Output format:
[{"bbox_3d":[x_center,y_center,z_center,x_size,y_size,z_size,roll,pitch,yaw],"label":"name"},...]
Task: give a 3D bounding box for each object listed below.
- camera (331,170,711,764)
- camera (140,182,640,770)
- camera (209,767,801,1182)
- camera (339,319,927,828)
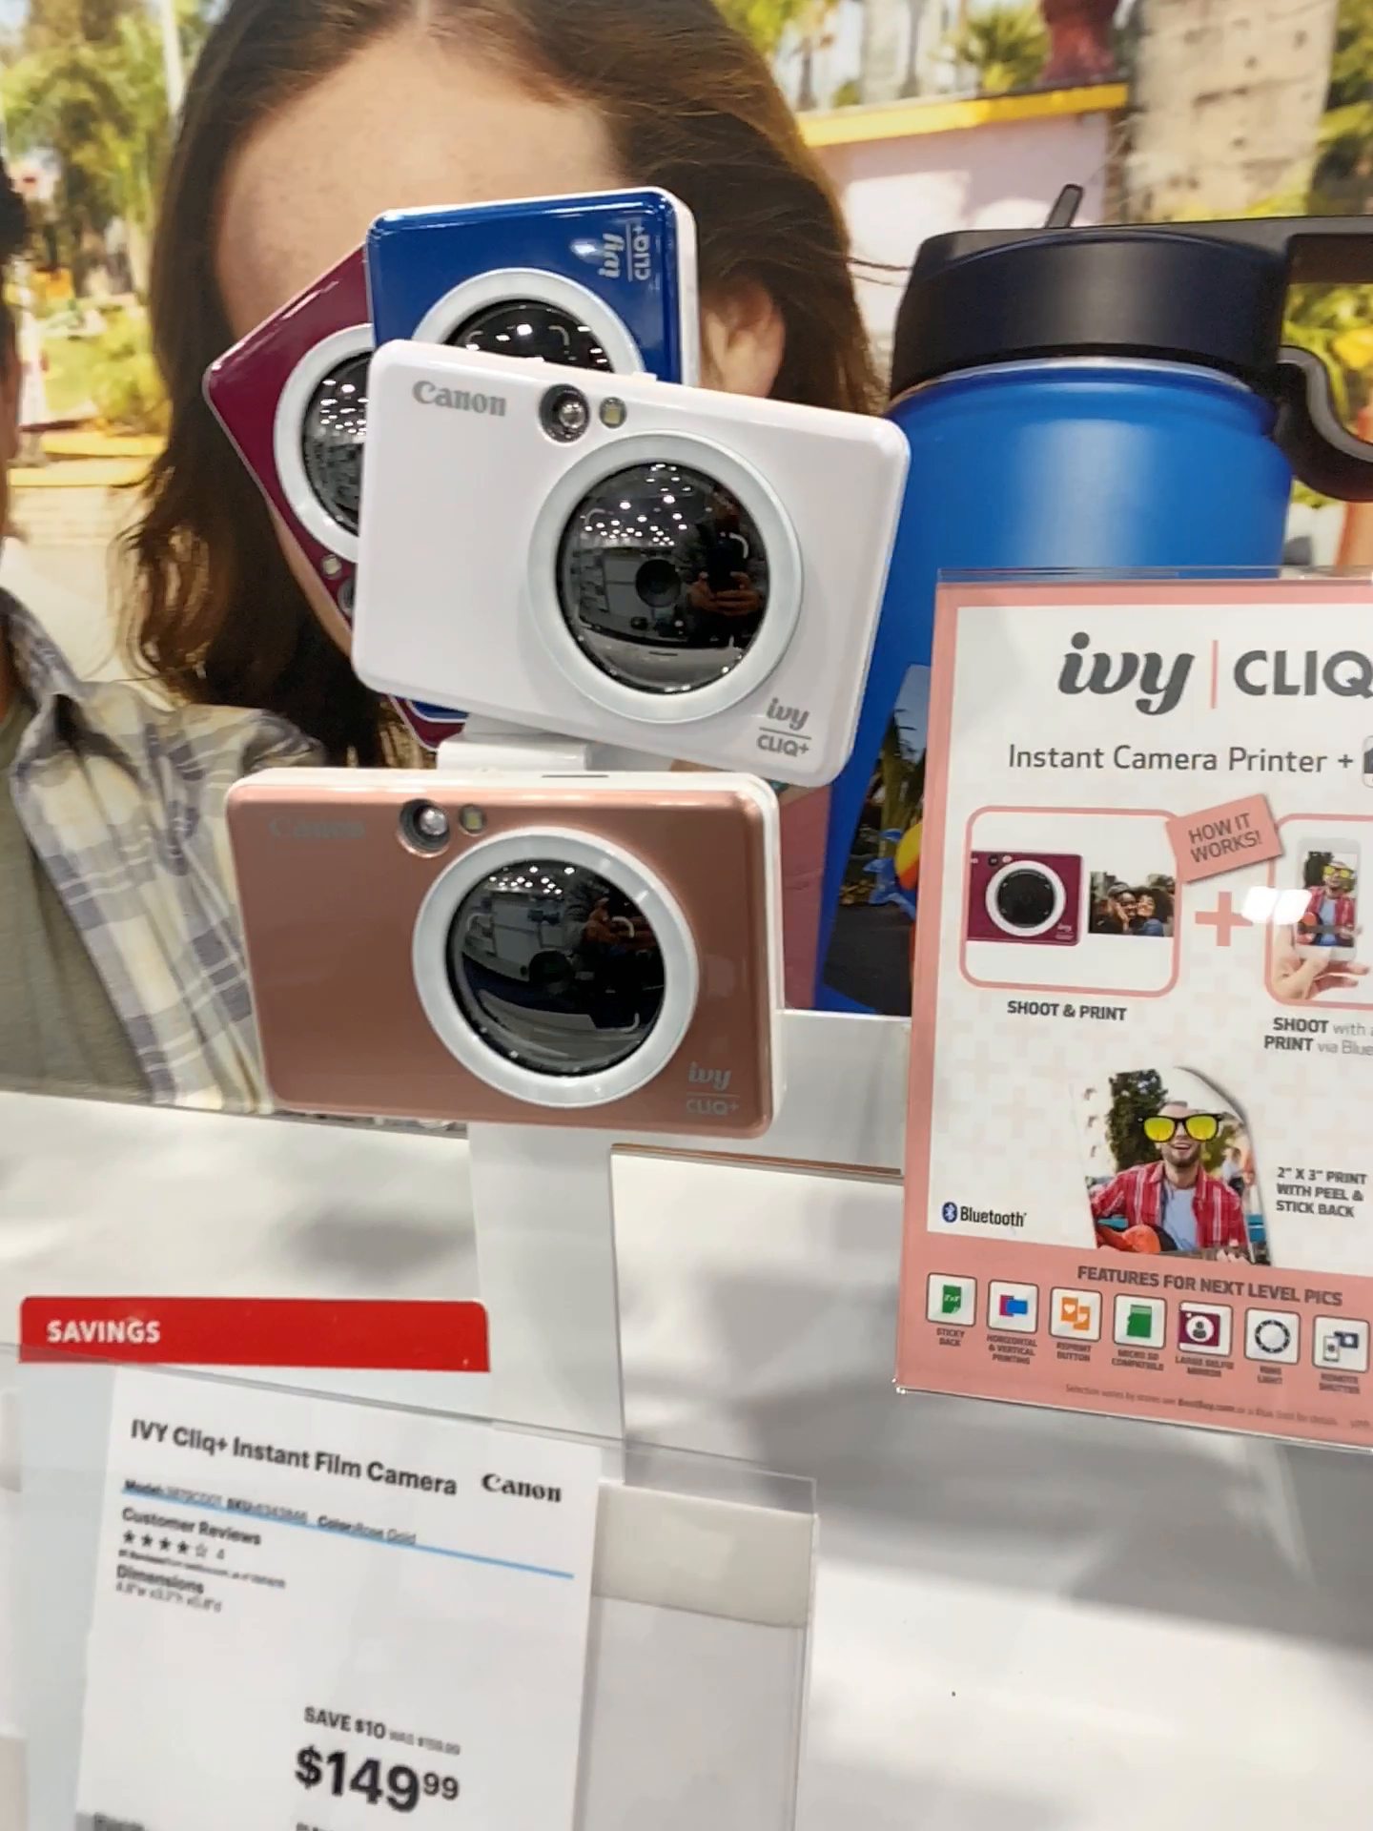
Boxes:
[{"bbox_3d":[-0.039,-0.106,0.351,0.080,0.129,0.030,4,18,21],"label":"camera"},{"bbox_3d":[-0.079,-0.112,0.374,0.080,0.120,0.030,-27,5,27],"label":"camera"},{"bbox_3d":[-0.037,0.011,0.309,0.120,0.080,0.030,2,17,12],"label":"camera"},{"bbox_3d":[-0.014,-0.079,0.326,0.120,0.090,0.030,13,19,9],"label":"camera"}]
